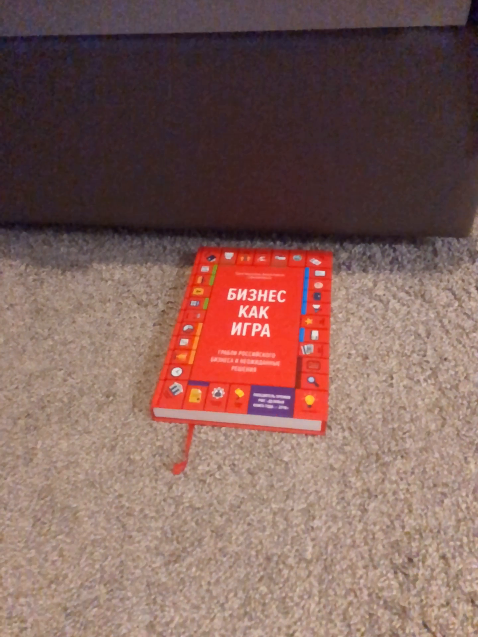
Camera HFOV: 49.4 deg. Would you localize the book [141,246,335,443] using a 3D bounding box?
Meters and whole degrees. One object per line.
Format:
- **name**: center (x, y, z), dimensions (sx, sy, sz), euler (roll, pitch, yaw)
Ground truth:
- **book**: center (0.013, 0.013, 0.575), dimensions (0.179, 0.033, 0.248), euler (3, 46, 8)
